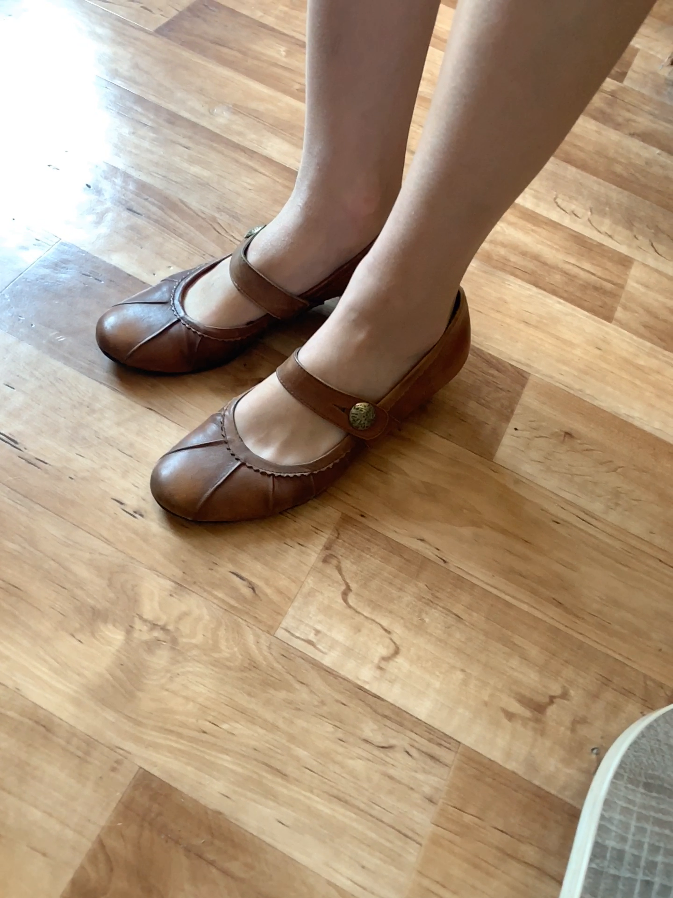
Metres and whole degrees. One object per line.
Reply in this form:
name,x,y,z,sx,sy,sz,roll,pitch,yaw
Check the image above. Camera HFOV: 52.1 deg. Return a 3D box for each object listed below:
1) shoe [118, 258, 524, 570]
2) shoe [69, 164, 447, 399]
shoe,-0.007,-0.030,0.472,0.250,0.090,0.090,-27,67,-24
shoe,-0.056,-0.131,0.523,0.250,0.090,0.090,-18,64,-20
